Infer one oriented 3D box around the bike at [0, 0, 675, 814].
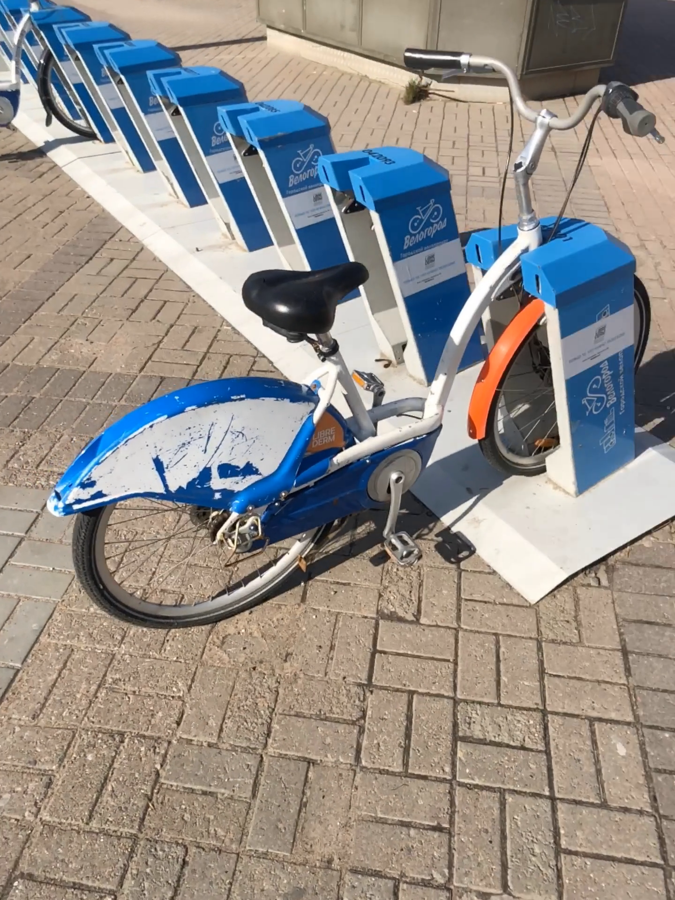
[{"bbox_3d":[0.196,-0.252,1.670,1.678,1.233,0.684,-22,43,-23],"label":"bike"}]
